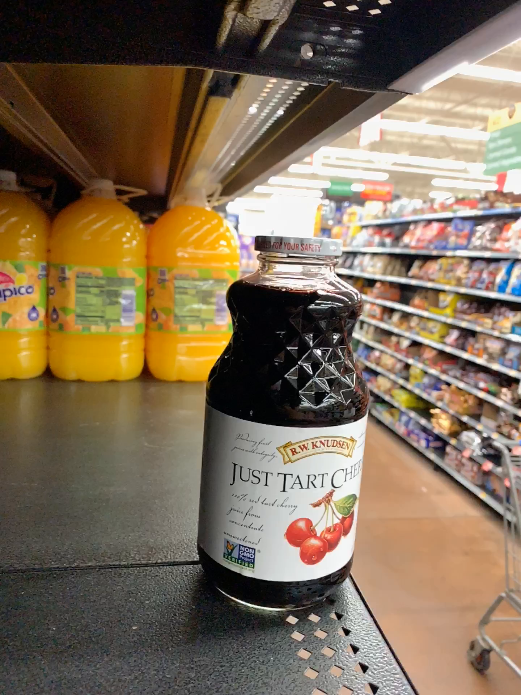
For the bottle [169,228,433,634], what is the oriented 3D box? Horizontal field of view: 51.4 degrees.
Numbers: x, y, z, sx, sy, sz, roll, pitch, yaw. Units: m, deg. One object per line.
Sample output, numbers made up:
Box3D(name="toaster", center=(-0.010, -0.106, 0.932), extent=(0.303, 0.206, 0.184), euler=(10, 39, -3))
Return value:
Box3D(name="bottle", center=(0.013, 0.035, 0.325), extent=(0.100, 0.200, 0.110), euler=(0, 11, -25))
